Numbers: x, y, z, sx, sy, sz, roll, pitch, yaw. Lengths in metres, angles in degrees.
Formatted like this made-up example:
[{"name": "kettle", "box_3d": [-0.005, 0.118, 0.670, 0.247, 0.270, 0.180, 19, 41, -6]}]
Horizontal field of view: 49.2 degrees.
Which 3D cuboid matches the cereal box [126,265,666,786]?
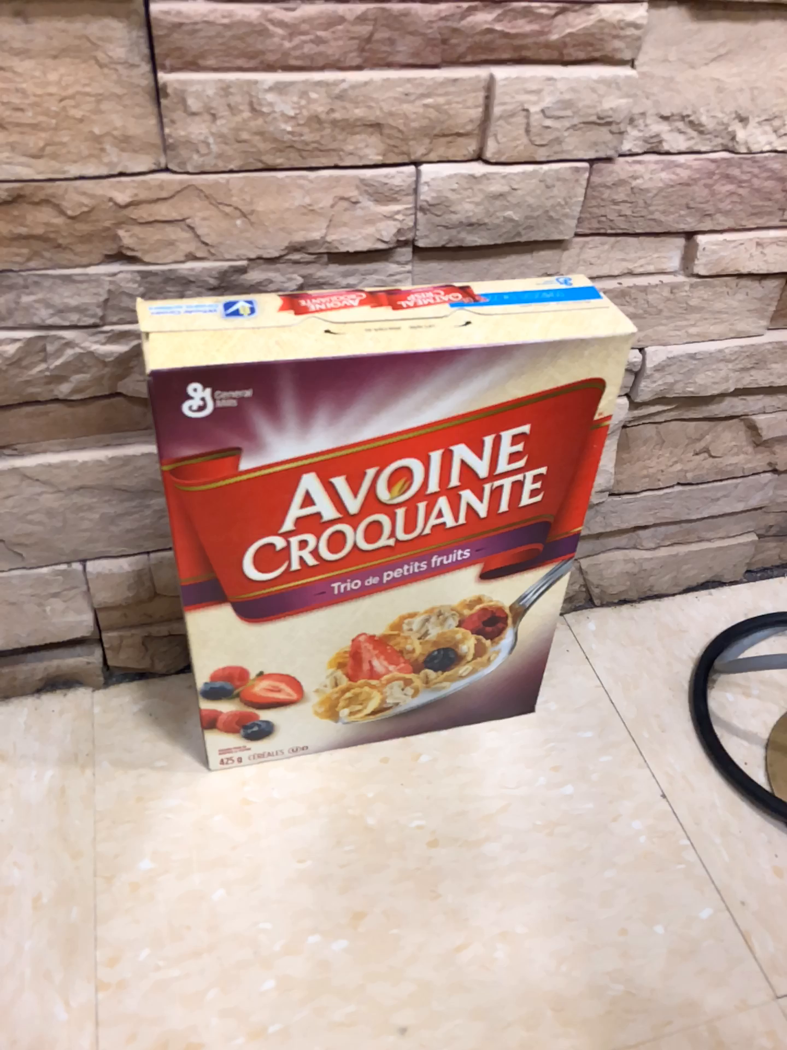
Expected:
[{"name": "cereal box", "box_3d": [-0.006, 0.012, 0.413, 0.200, 0.248, 0.060, -7, 42, -13]}]
